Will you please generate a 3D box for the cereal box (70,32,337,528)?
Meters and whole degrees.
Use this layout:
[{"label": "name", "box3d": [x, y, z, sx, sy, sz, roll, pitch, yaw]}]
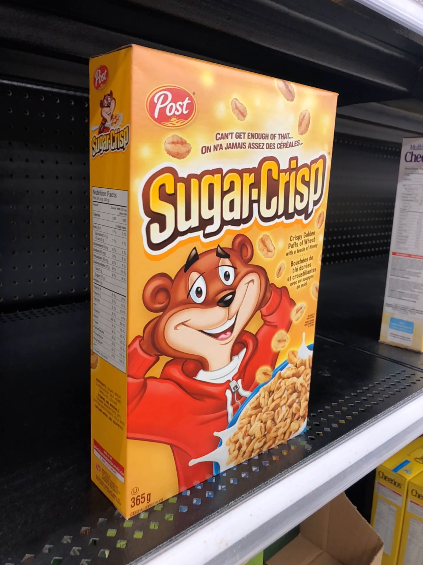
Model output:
[{"label": "cereal box", "box3d": [-0.002, -0.001, 0.371, 0.200, 0.309, 0.060, -7, 16, -39]}]
